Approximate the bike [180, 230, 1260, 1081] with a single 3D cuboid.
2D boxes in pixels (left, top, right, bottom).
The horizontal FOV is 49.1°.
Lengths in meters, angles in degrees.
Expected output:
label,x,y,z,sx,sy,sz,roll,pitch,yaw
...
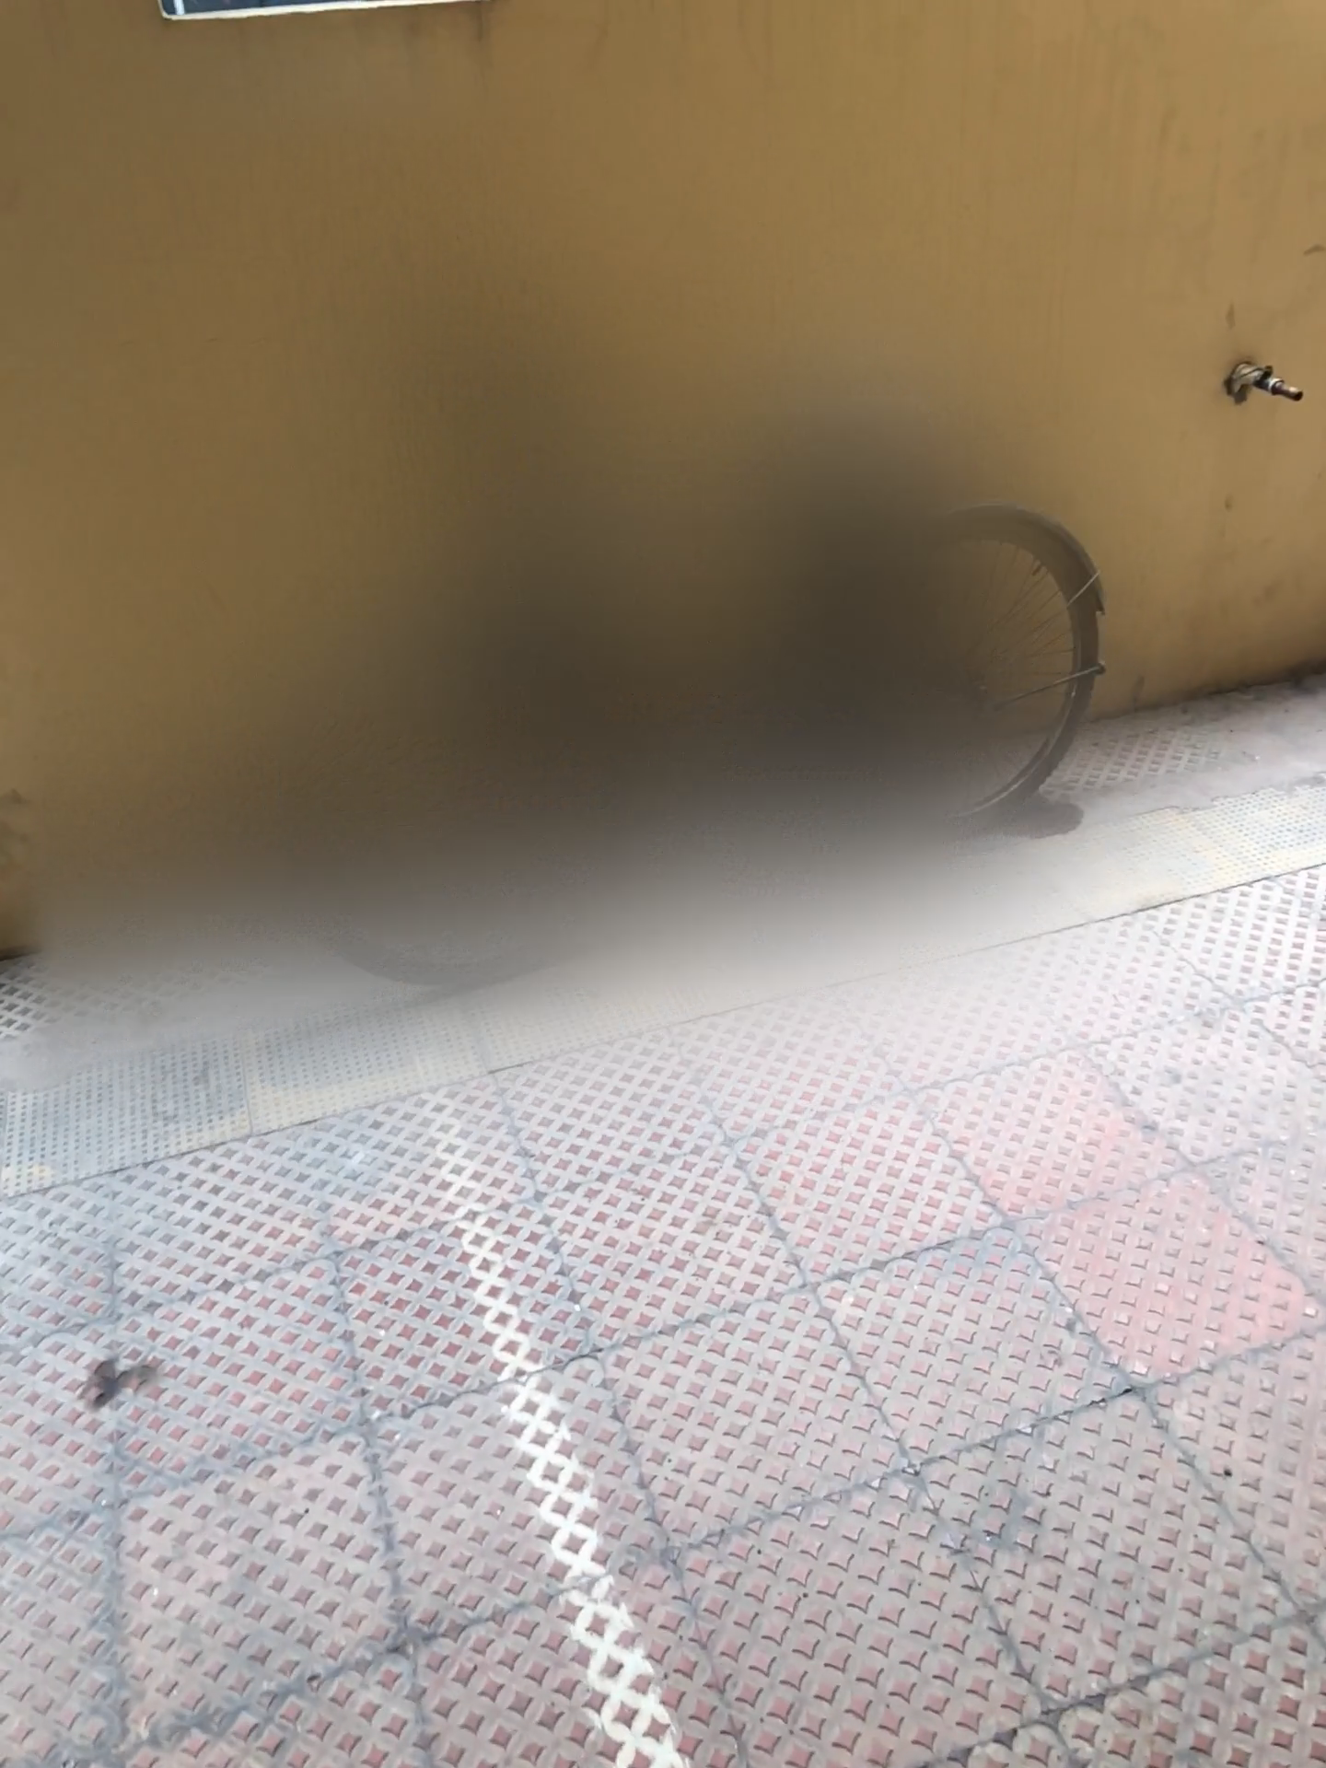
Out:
label,x,y,z,sx,sy,sz,roll,pitch,yaw
bike,0.134,-0.443,2.345,1.547,0.998,0.544,-14,33,-20
